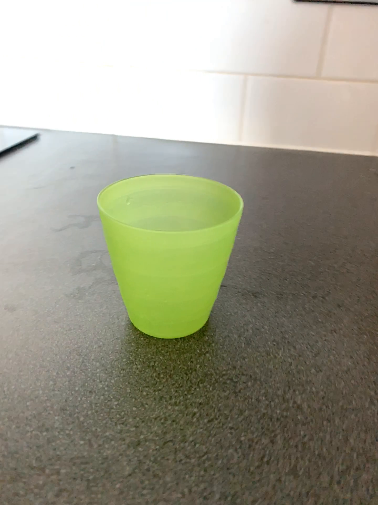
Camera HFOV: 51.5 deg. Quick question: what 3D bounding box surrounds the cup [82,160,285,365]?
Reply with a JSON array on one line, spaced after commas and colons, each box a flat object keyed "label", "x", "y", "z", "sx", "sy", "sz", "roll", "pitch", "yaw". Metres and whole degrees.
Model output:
[{"label": "cup", "x": -0.008, "y": -0.001, "z": 0.239, "sx": 0.089, "sy": 0.080, "sz": 0.078, "roll": -11, "pitch": 35, "yaw": -23}]
